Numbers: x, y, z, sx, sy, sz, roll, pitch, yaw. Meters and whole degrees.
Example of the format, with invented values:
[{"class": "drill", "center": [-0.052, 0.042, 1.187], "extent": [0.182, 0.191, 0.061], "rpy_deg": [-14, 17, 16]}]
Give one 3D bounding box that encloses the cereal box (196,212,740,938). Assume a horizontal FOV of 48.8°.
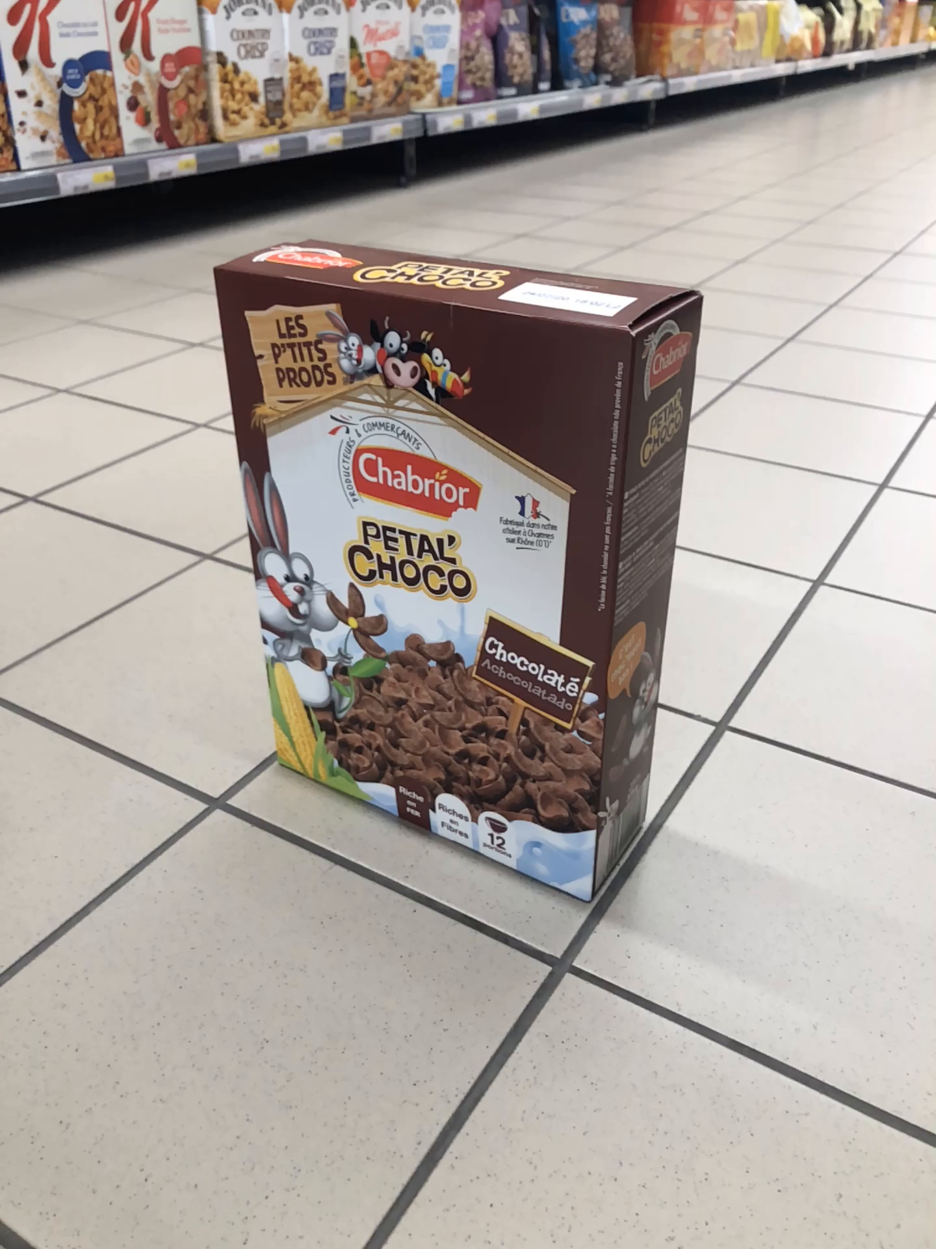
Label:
[{"class": "cereal box", "center": [-0.005, -0.023, 0.461], "extent": [0.200, 0.278, 0.070], "rpy_deg": [17, 34, 27]}]
